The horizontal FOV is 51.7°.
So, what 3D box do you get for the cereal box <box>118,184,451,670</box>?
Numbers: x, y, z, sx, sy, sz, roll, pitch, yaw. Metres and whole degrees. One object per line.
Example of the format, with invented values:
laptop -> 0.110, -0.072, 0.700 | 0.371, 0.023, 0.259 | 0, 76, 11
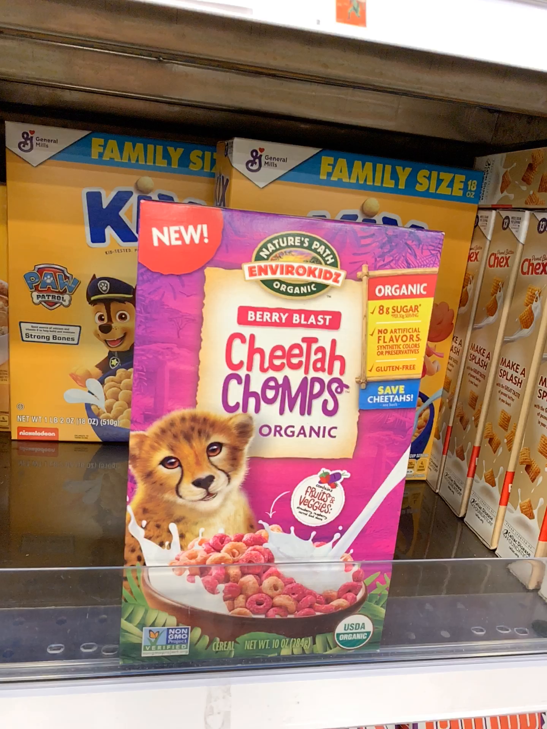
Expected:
cereal box -> -0.003, 0.043, 0.340 | 0.160, 0.269, 0.060 | 3, 13, -11
